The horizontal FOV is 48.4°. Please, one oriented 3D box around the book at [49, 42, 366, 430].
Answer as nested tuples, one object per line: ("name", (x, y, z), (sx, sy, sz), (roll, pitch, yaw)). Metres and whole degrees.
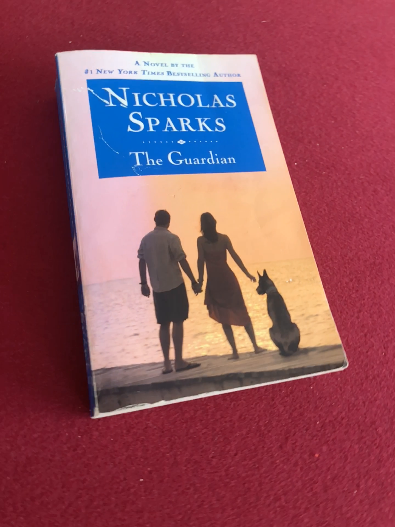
("book", (-0.004, -0.024, 0.203), (0.110, 0.030, 0.170), (-5, 68, -16))
